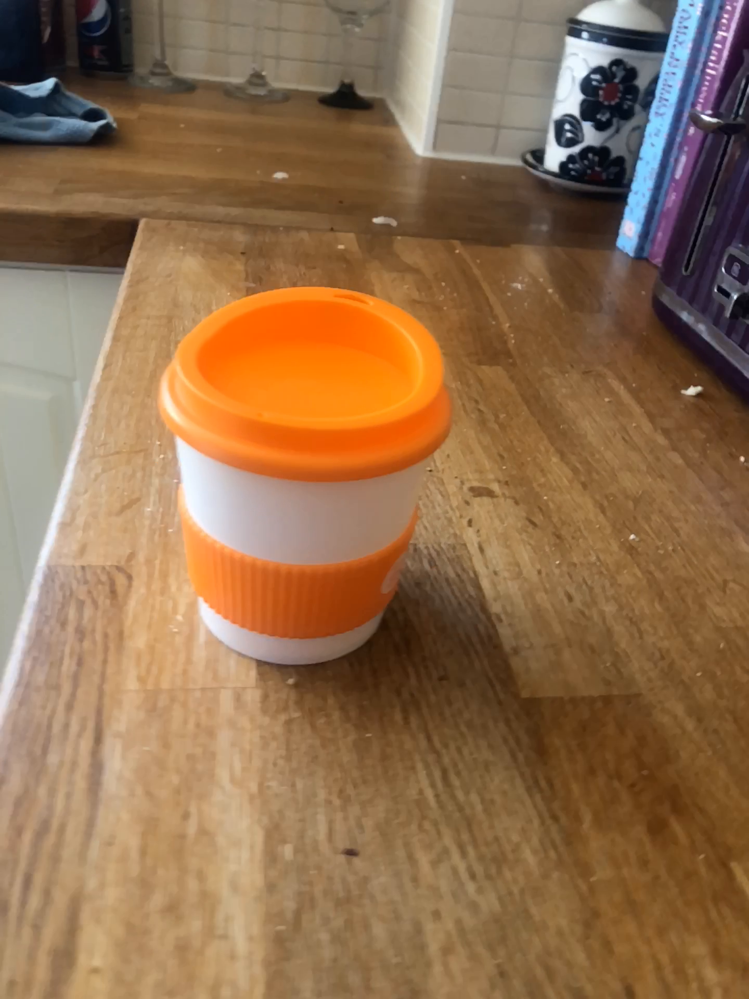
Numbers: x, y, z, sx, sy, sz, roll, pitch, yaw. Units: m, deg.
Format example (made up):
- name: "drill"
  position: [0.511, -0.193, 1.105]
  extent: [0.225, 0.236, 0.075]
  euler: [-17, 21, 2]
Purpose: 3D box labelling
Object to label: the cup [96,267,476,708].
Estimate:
- name: "cup"
  position: [-0.024, -0.009, 0.262]
  extent: [0.081, 0.089, 0.089]
  euler: [15, 34, 10]
